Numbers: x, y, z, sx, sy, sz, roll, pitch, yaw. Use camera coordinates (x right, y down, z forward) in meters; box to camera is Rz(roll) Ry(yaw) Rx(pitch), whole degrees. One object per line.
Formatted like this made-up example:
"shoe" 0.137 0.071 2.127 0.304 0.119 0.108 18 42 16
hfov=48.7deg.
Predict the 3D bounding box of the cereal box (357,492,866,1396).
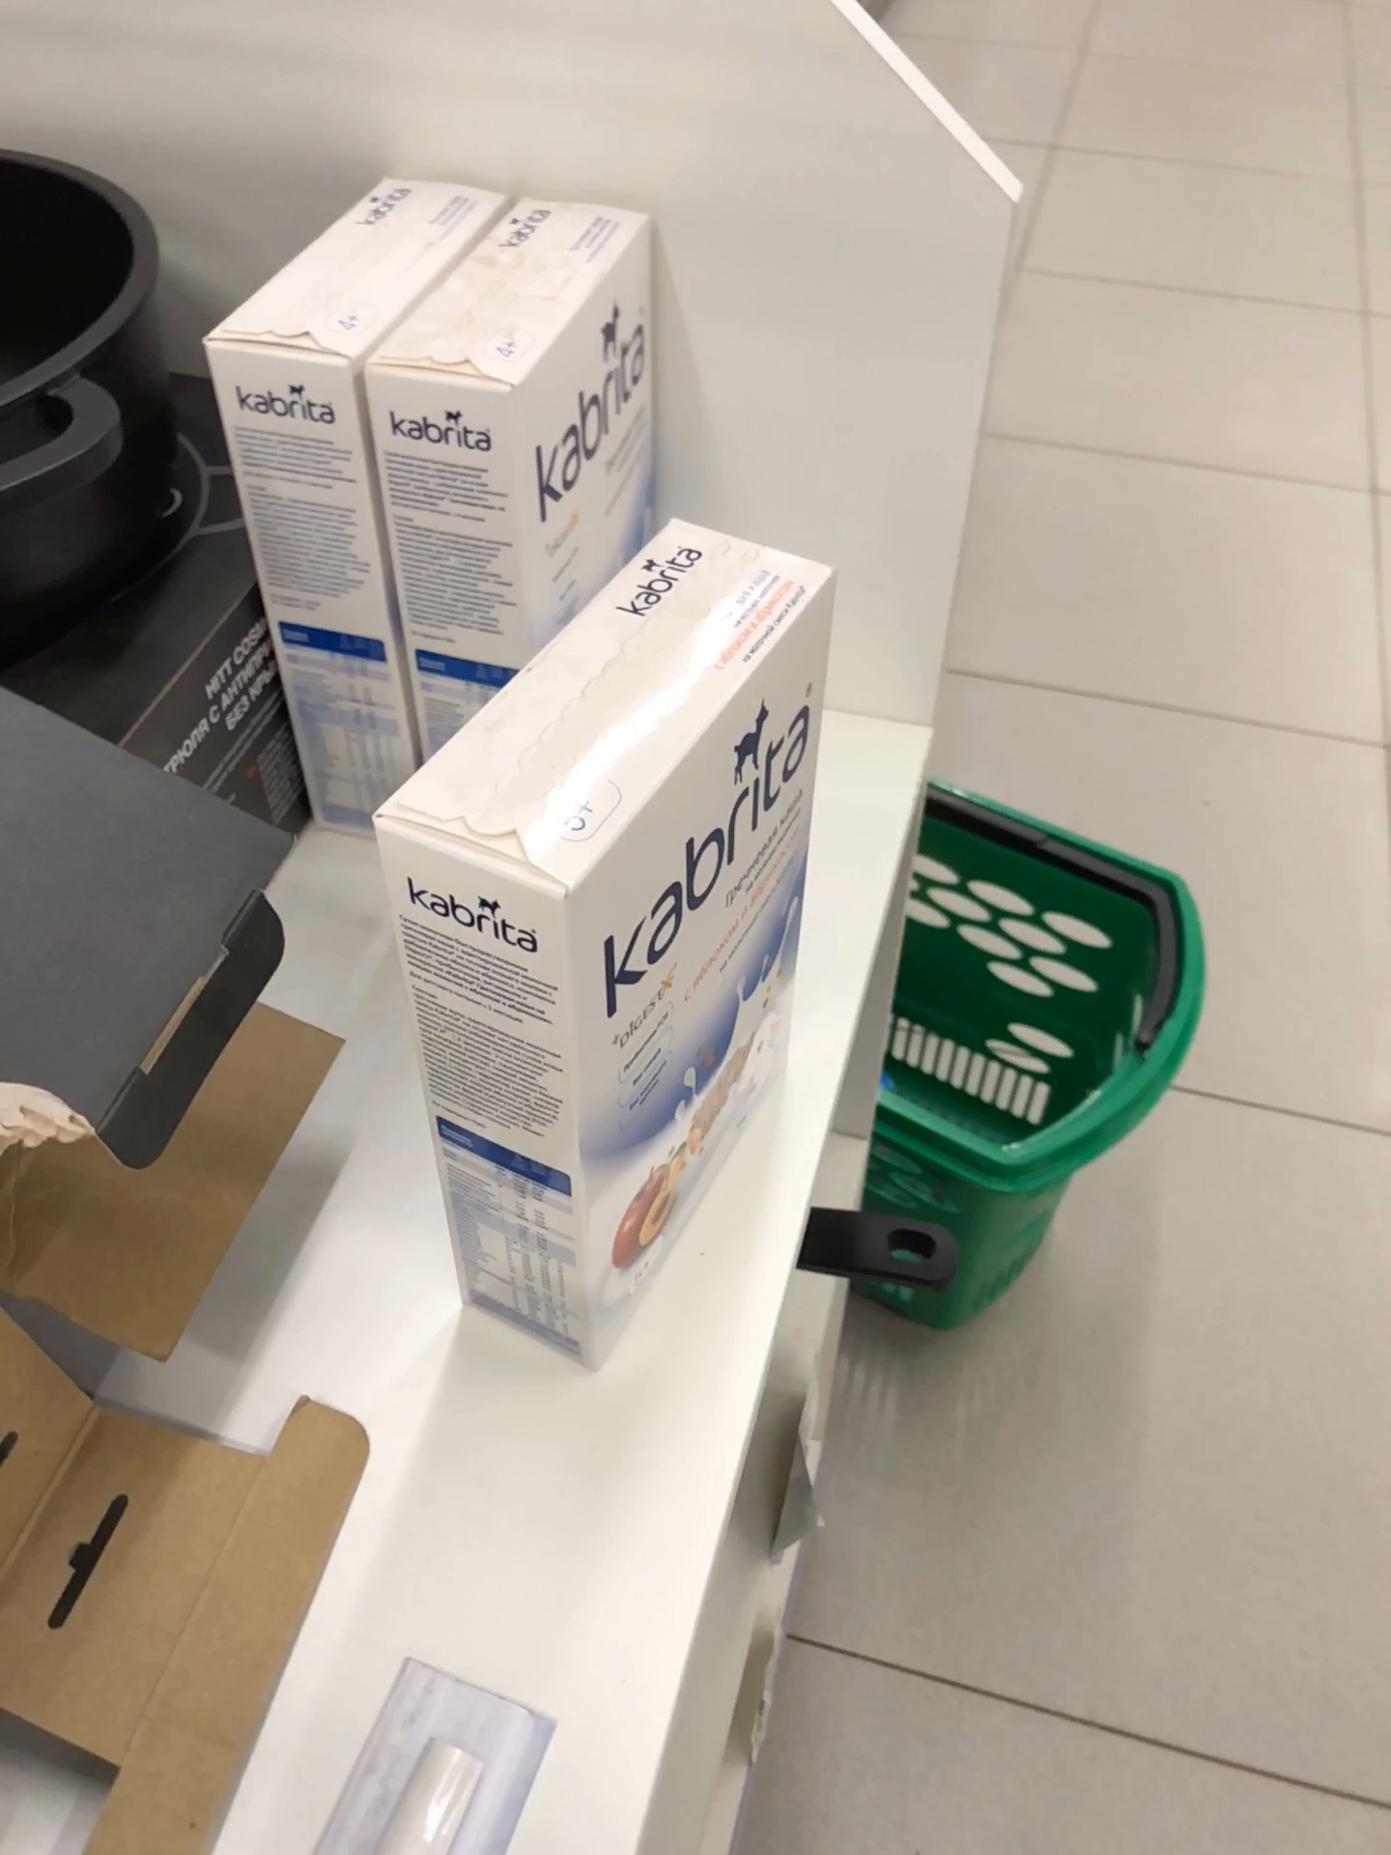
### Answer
"cereal box" -0.014 0.011 0.414 0.050 0.199 0.141 21 50 18
